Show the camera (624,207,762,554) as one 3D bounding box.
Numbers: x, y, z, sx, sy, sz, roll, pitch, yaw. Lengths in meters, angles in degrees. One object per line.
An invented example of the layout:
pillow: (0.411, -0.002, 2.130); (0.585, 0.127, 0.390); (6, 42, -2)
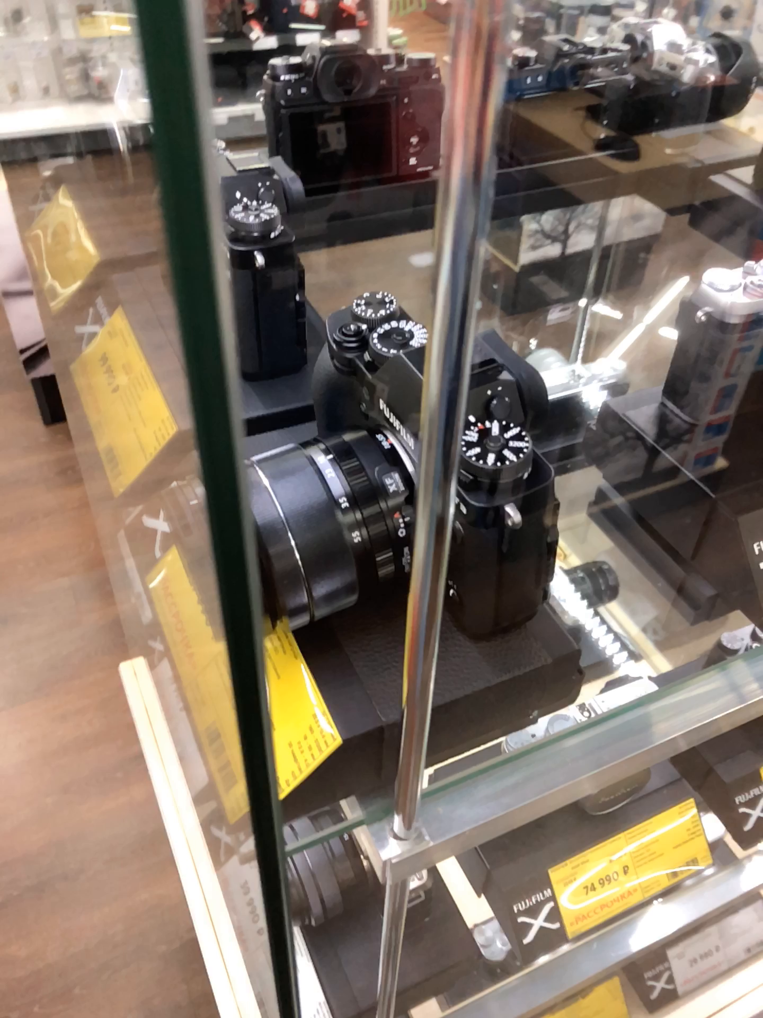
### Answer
camera: (0.207, -0.065, 0.389); (0.125, 0.088, 0.116); (-15, 45, -18)

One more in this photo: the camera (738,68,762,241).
camera: (0.317, -0.247, 0.583); (0.056, 0.074, 0.110); (-14, 45, -17)

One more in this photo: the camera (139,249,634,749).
camera: (-0.006, -0.012, 0.314); (0.119, 0.099, 0.129); (-18, 46, -21)

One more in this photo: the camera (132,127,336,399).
camera: (-0.080, -0.136, 0.454); (0.066, 0.088, 0.126); (-16, 45, -19)
